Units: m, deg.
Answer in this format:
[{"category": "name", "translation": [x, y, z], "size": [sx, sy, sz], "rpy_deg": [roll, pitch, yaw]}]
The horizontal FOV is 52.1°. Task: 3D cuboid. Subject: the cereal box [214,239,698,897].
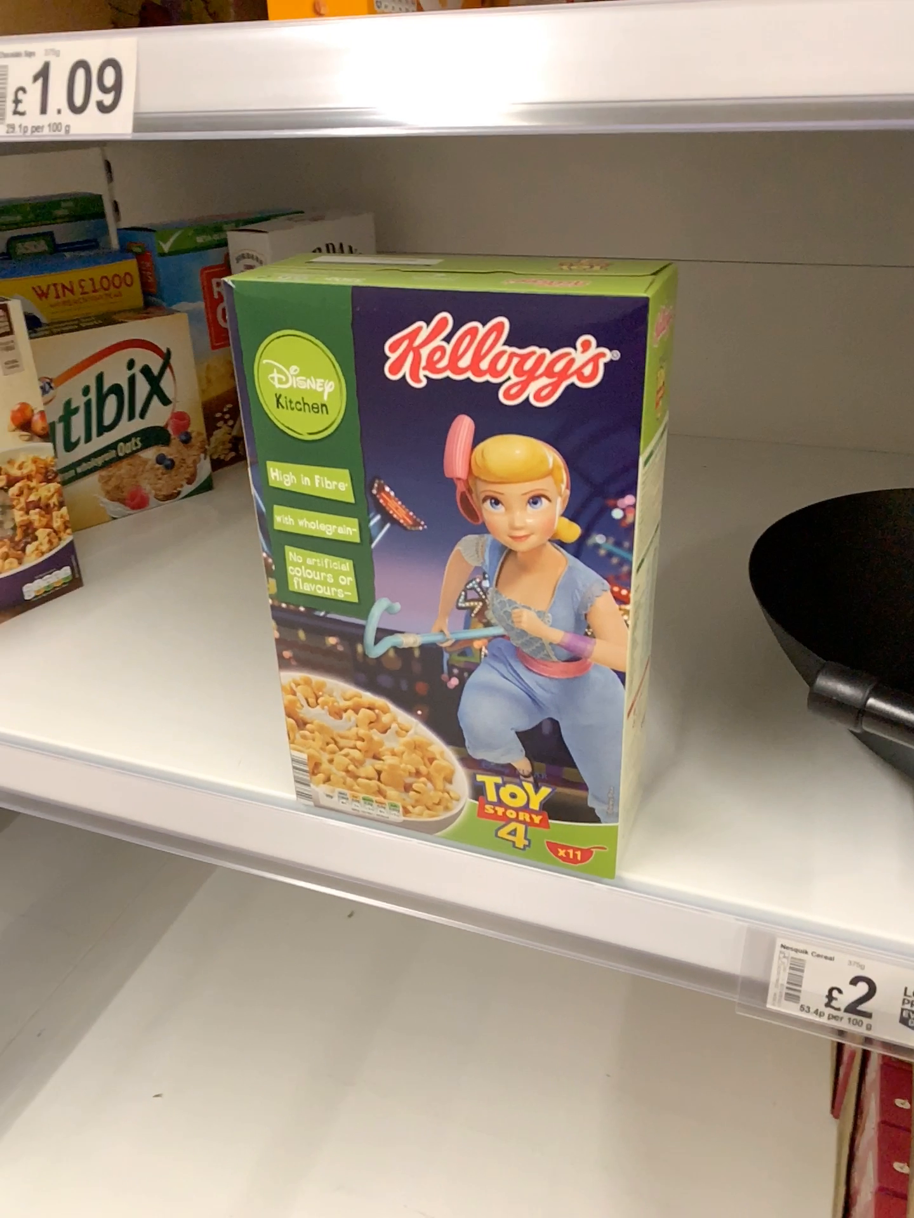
[{"category": "cereal box", "translation": [0.004, -0.019, 0.468], "size": [0.190, 0.297, 0.081], "rpy_deg": [9, 30, 20]}]
